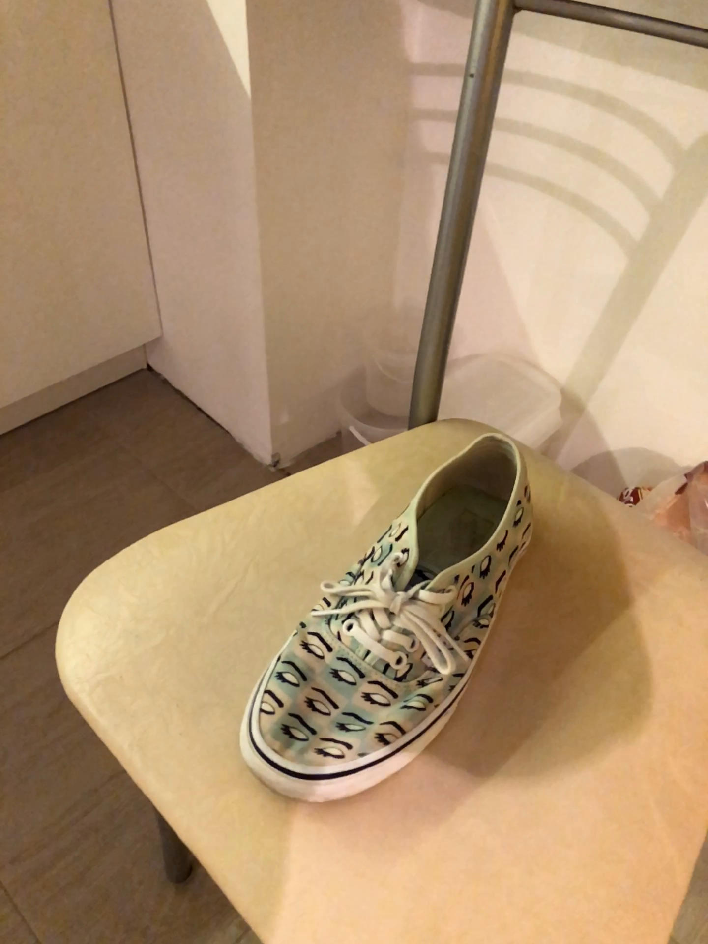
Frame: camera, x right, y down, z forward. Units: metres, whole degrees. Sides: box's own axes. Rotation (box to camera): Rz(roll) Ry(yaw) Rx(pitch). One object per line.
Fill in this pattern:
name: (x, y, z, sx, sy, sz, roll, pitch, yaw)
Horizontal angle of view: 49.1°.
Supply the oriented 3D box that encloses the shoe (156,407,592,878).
shoe: (0.025, 0.076, 0.450, 0.110, 0.068, 0.261, 28, 50, 24)
